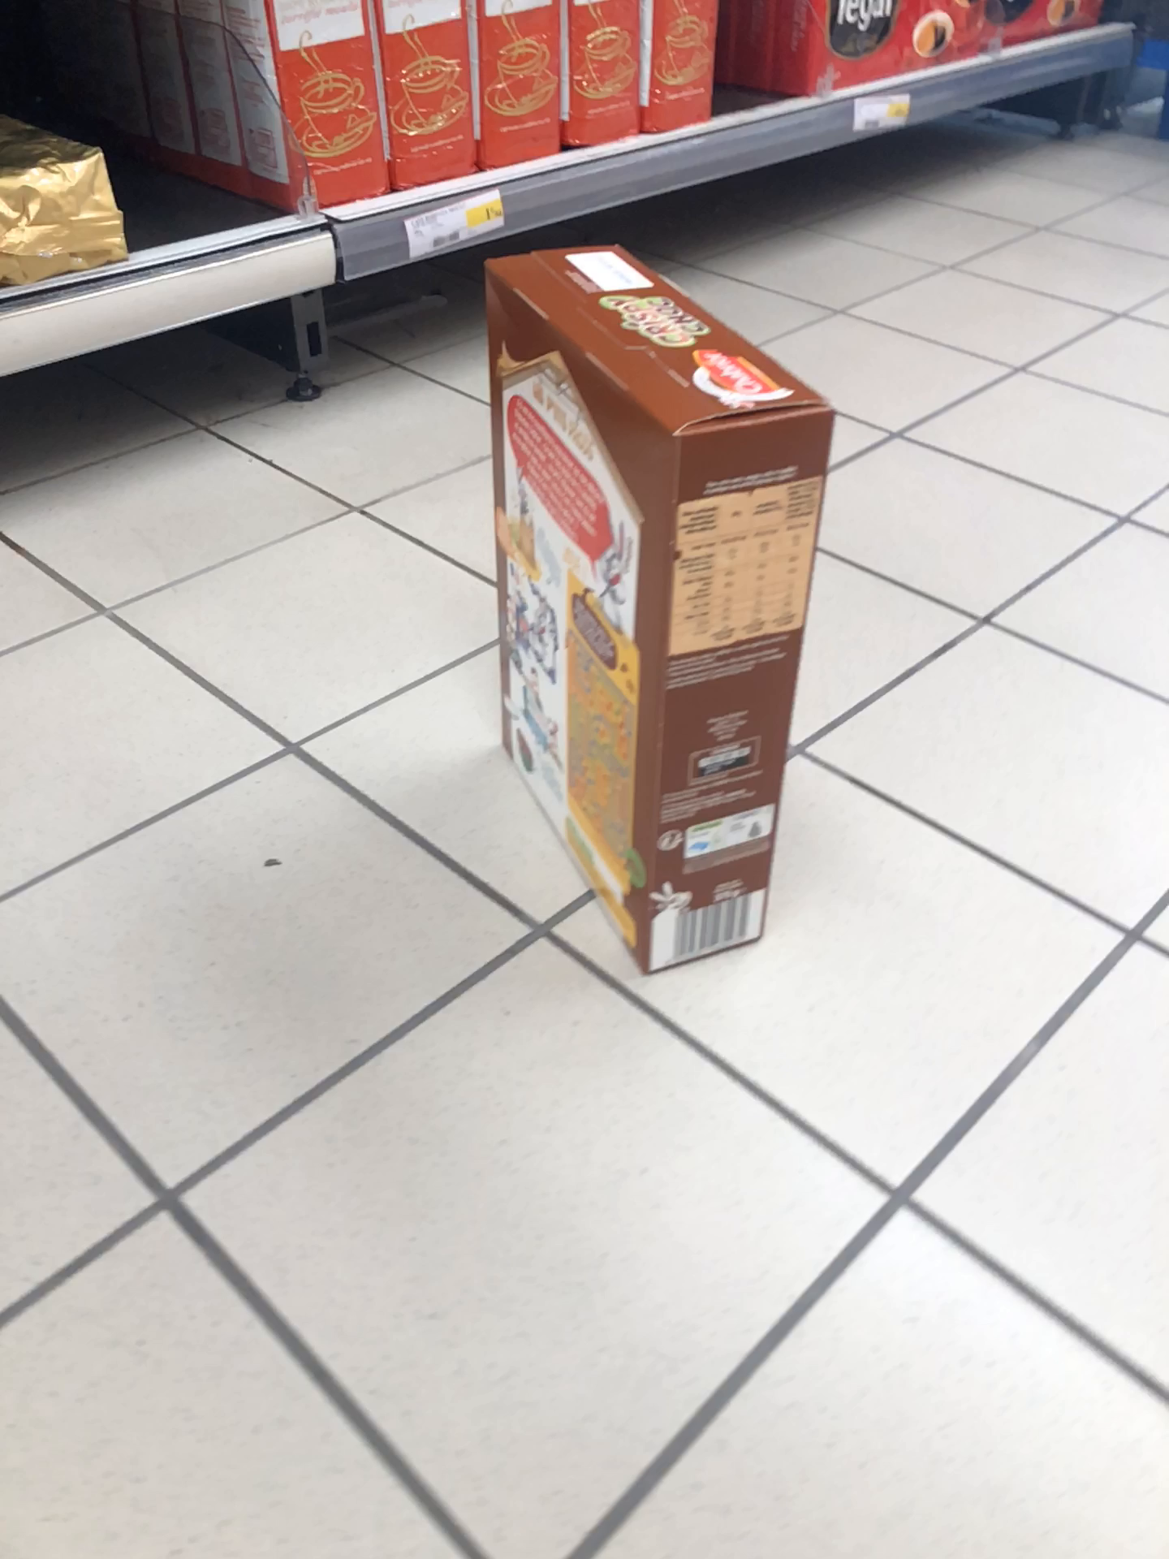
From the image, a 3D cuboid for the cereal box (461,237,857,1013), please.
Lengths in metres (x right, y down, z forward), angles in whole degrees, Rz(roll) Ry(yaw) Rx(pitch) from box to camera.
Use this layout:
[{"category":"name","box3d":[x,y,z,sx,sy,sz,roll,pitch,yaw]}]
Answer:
[{"category":"cereal box","box3d":[0.016,-0.071,0.573,0.070,0.268,0.211,-14,40,-18]}]
